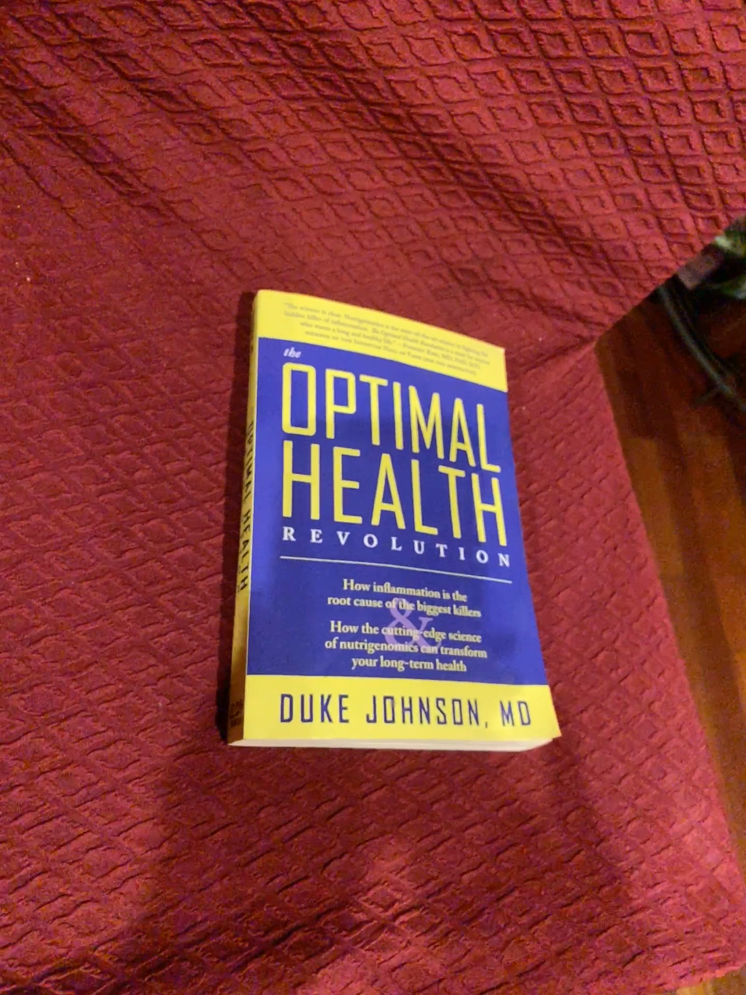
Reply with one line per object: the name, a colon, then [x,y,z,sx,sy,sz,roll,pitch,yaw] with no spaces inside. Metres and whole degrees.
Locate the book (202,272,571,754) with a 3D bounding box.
book: [0.006,0.012,0.400,0.161,0.060,0.222,9,65,-23]
